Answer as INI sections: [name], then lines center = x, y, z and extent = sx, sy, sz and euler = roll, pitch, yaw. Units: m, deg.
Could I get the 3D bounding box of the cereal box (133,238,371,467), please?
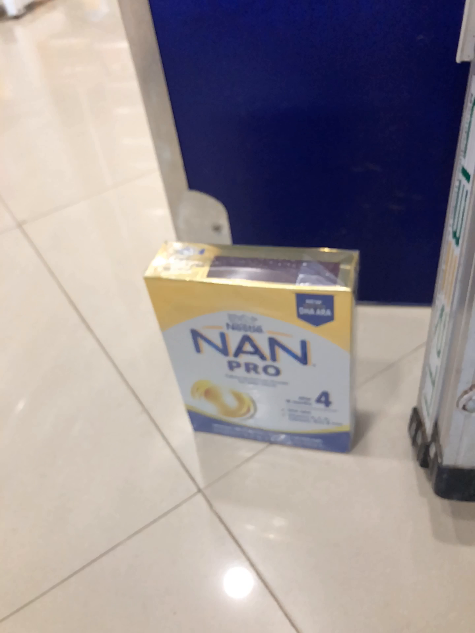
[cereal box]
center = 0.023, 0.037, 0.463
extent = 0.170, 0.209, 0.050
euler = 5, 44, 16
